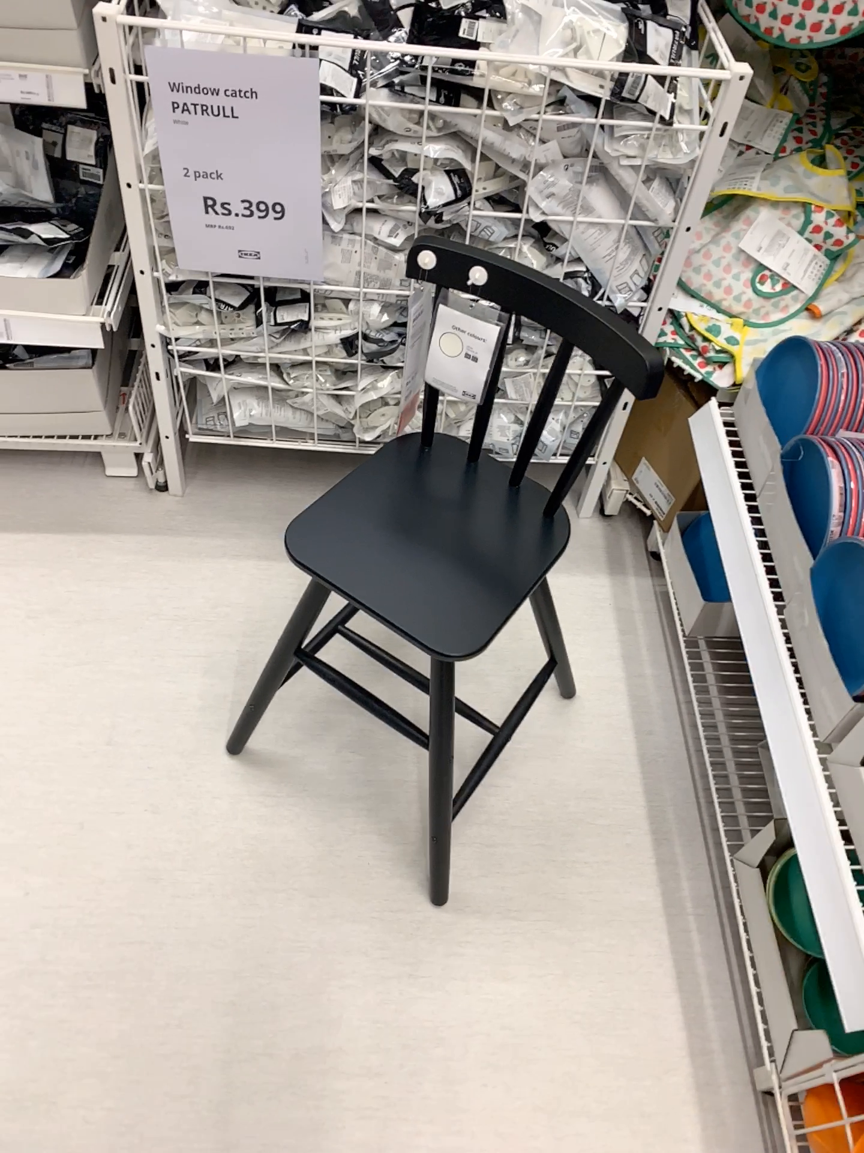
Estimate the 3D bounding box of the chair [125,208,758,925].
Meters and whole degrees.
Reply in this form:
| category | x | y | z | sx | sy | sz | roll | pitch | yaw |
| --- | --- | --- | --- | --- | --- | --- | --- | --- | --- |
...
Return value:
| category | x | y | z | sx | sy | sz | roll | pitch | yaw |
| --- | --- | --- | --- | --- | --- | --- | --- | --- | --- |
| chair | 0.000 | 0.025 | 1.117 | 0.420 | 0.688 | 0.461 | 33 | 57 | 17 |
